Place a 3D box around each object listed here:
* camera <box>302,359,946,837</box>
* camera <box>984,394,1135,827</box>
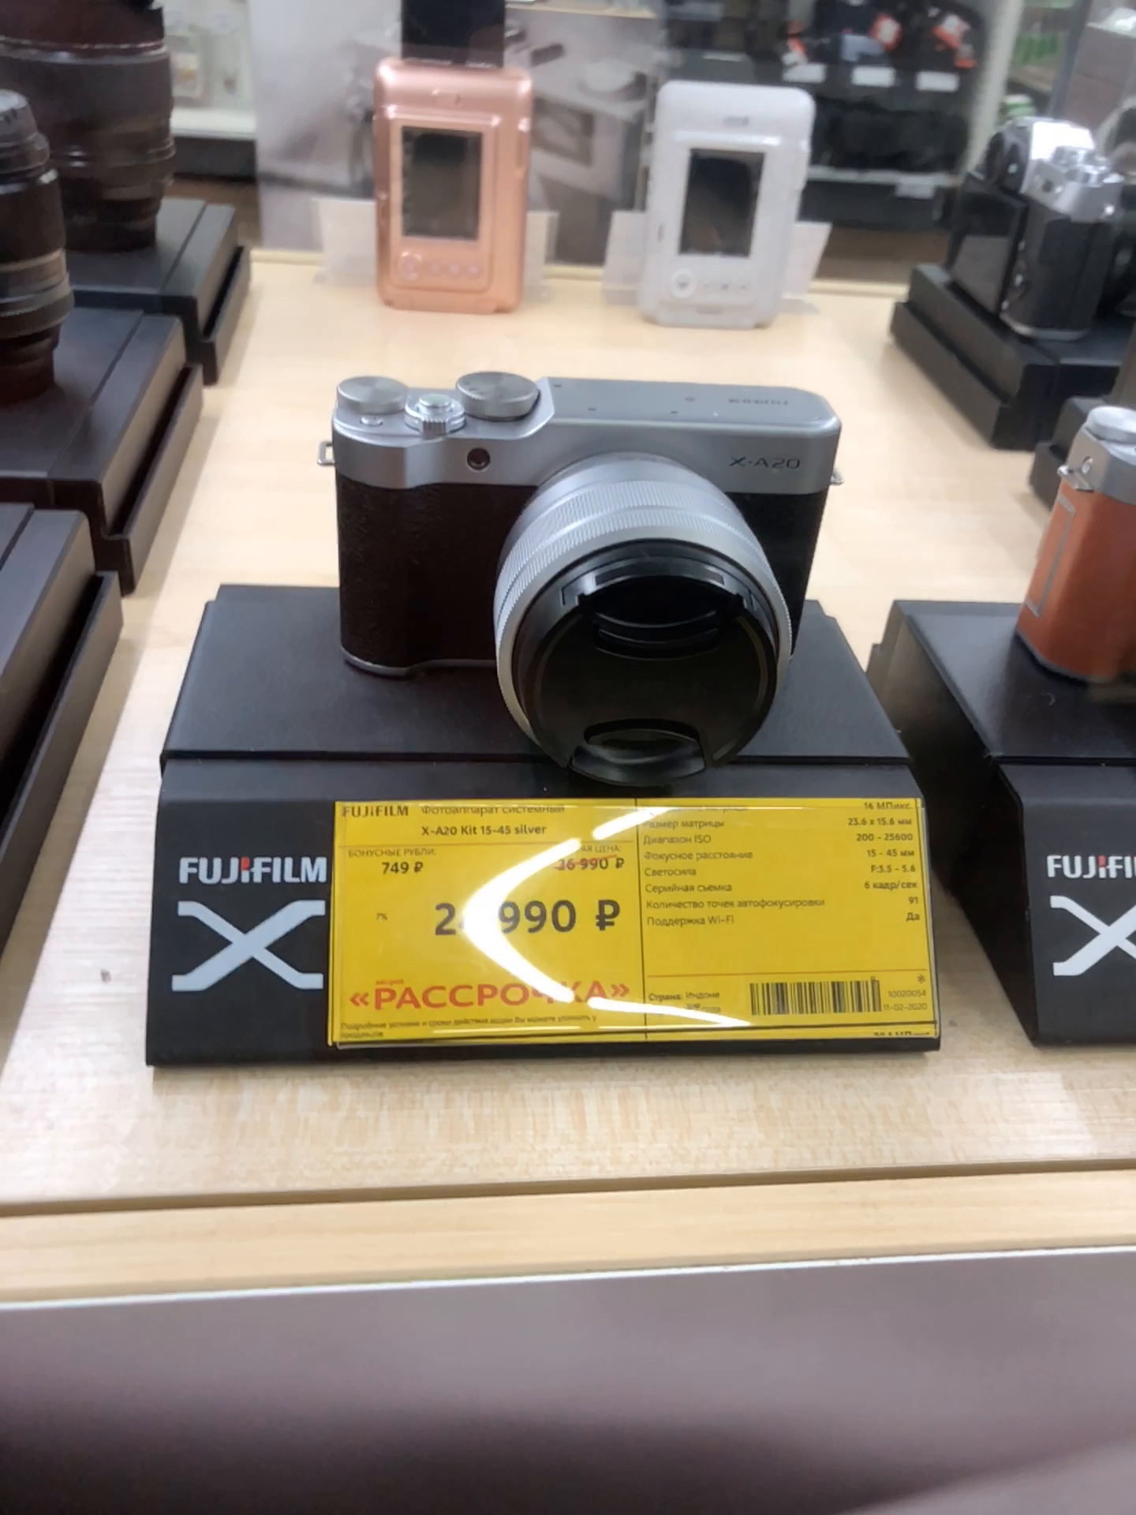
[{"bbox_3d":[0.006,-0.038,0.290,0.120,0.072,0.088,1,35,-6],"label":"camera"},{"bbox_3d":[0.192,-0.039,0.321,0.128,0.072,0.088,1,35,-6],"label":"camera"}]
